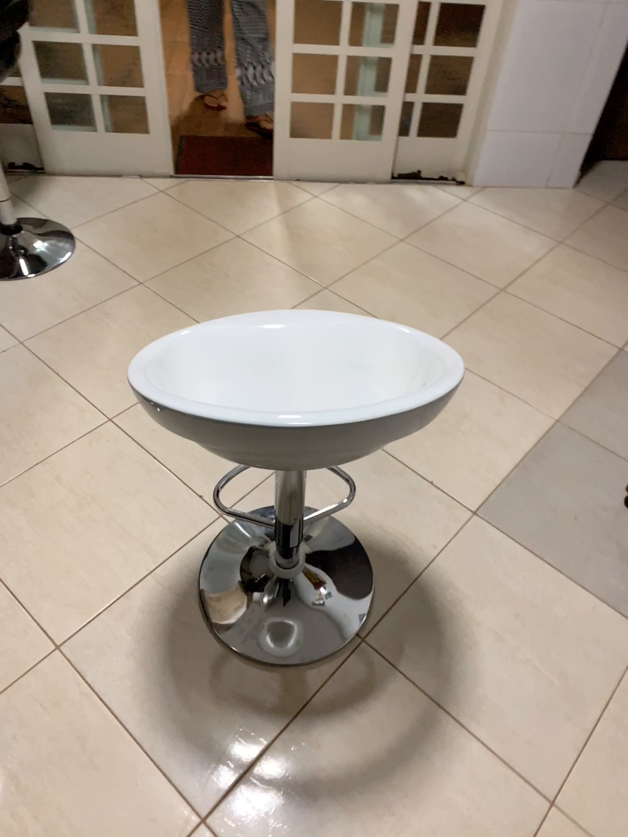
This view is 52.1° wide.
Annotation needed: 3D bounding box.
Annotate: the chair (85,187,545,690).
[{"bbox_3d":[-0.025,0.079,1.074,0.470,0.733,0.454,1,46,-4],"label":"chair"}]
